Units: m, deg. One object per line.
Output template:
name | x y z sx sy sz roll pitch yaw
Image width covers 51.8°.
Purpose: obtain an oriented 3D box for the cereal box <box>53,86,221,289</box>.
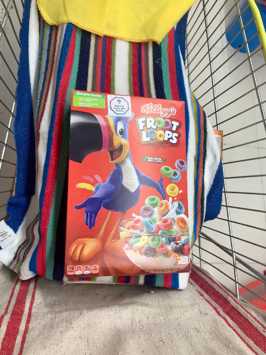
cereal box | 0.005 0.013 0.386 0.210 0.060 0.250 2 79 -12
